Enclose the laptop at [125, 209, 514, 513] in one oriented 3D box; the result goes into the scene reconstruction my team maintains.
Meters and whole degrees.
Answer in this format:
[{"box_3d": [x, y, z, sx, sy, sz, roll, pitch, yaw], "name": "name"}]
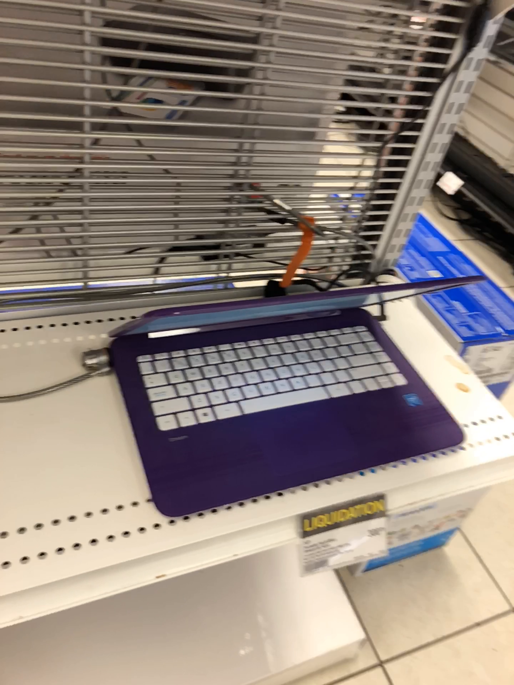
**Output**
[{"box_3d": [0.048, -0.004, 0.544, 0.305, 0.138, 0.206, -7, 47, -23], "name": "laptop"}]
